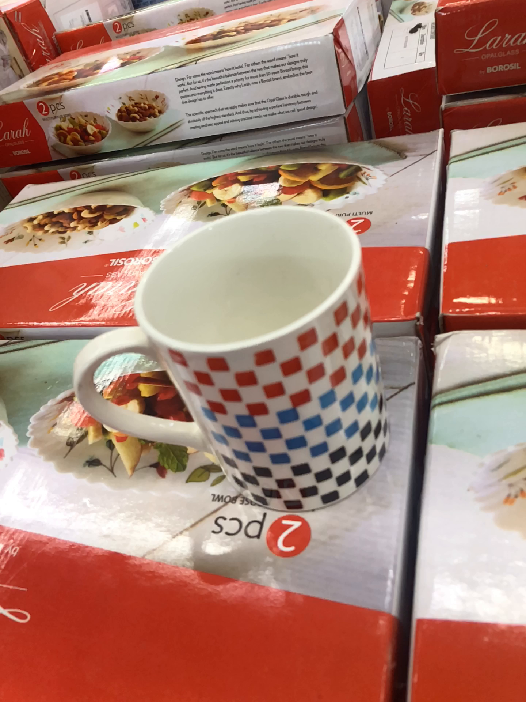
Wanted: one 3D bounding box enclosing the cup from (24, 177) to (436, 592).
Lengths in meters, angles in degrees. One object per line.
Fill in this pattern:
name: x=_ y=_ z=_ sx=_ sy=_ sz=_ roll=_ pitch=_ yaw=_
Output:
cup: x=-0.012 y=0.010 z=0.227 sx=0.120 sy=0.089 sz=0.091 roll=-22 pitch=40 yaw=-3
